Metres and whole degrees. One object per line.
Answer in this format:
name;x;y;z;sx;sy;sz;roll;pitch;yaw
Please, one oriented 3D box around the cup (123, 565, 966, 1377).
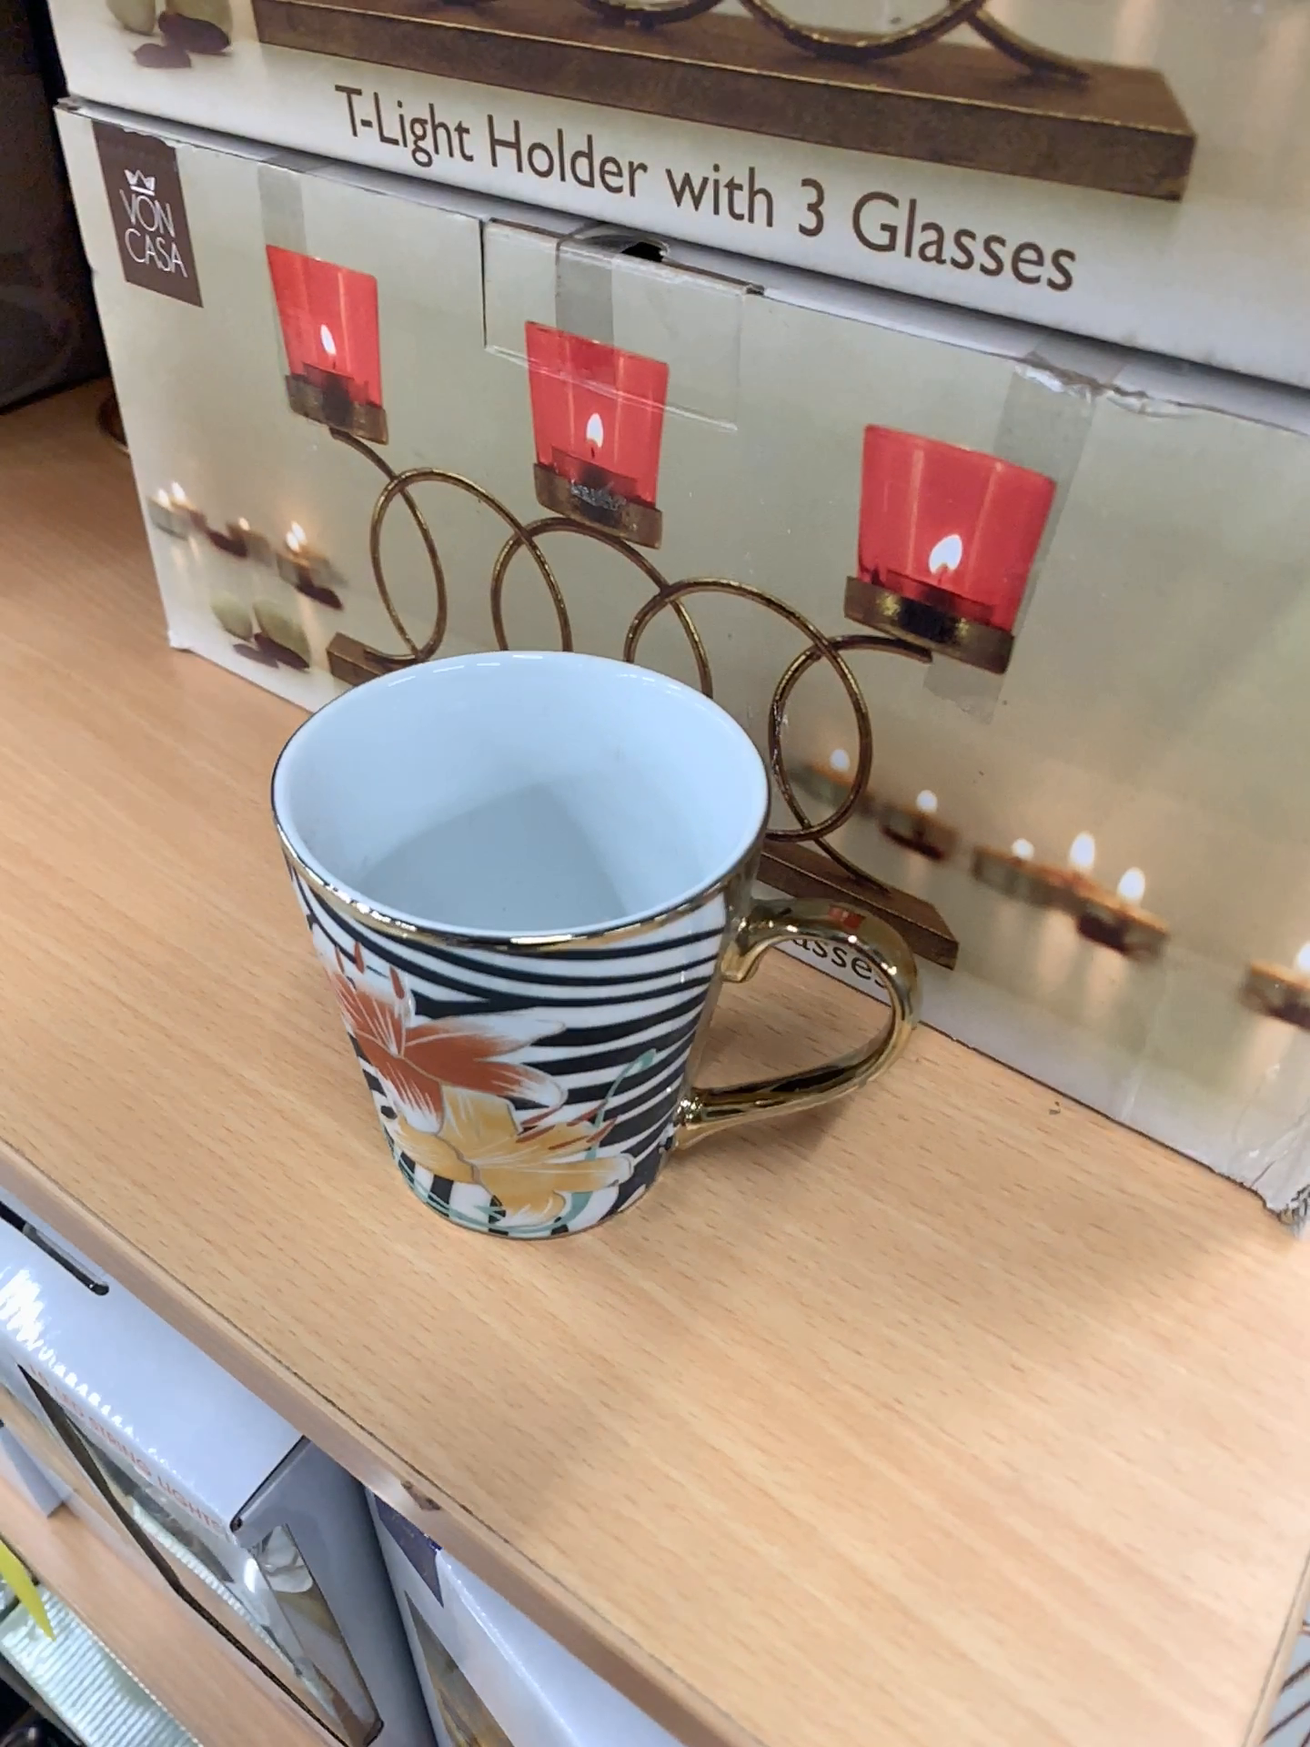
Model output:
cup;-0.014;0.012;0.219;0.100;0.080;0.070;17;41;14
